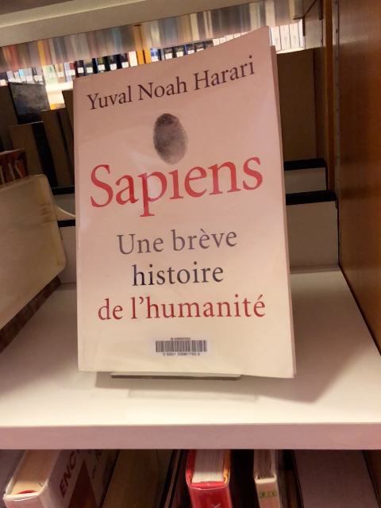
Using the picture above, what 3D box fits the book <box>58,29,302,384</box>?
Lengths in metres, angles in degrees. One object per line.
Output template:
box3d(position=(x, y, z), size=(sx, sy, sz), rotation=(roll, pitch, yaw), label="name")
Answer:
box3d(position=(-0.011, -0.030, 0.338), size=(0.177, 0.244, 0.052), rotation=(-4, -3, 17), label="book")
